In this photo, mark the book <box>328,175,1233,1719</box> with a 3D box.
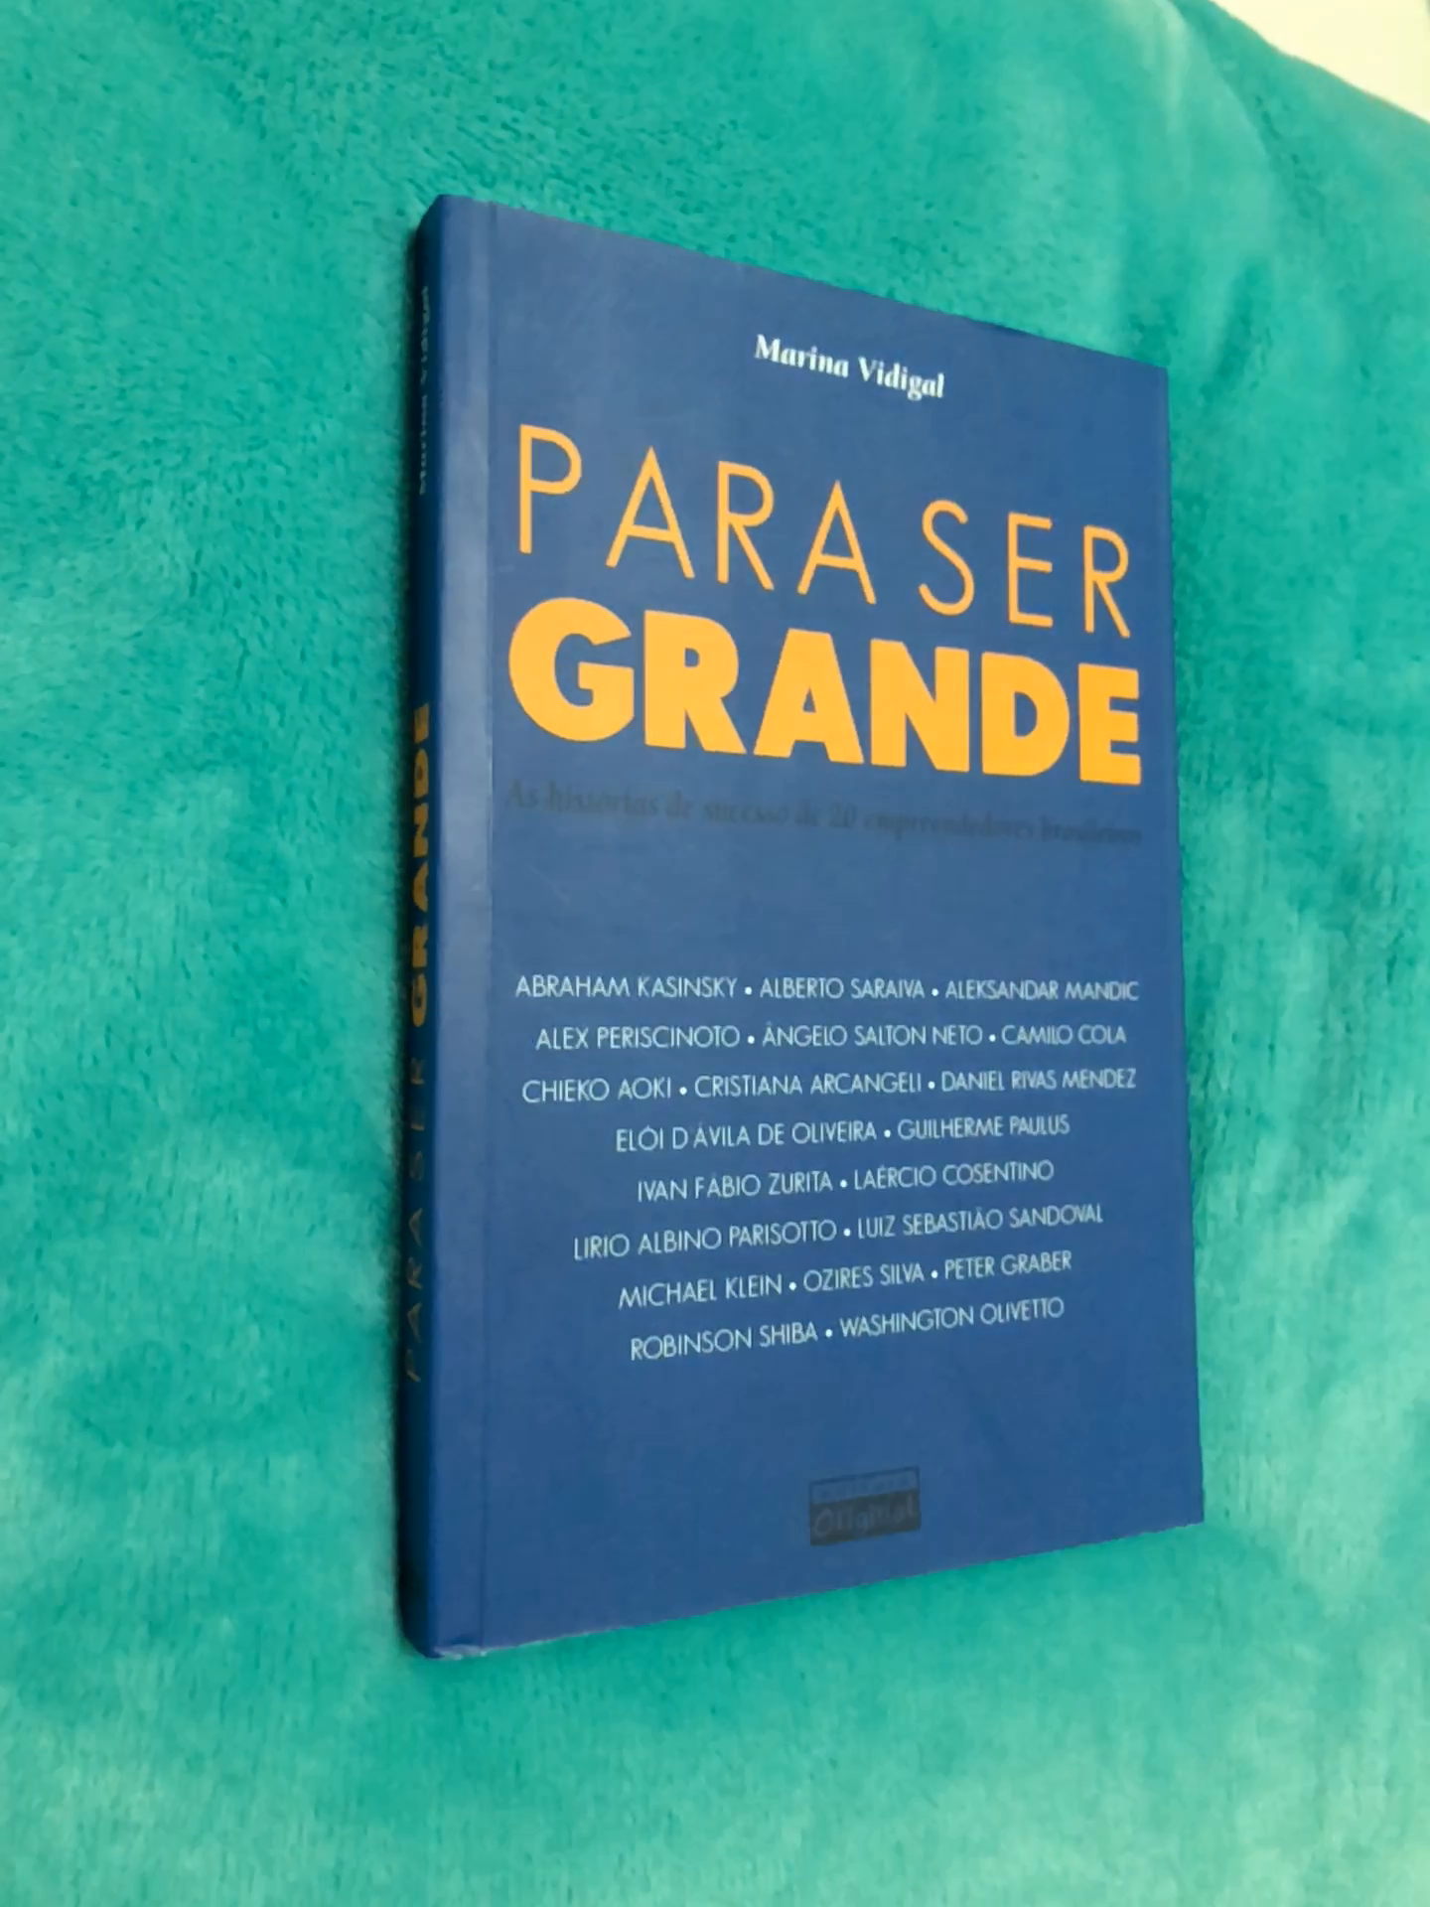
[{"bbox_3d":[0.016,0.000,0.249,0.140,0.030,0.200,2,88,-25],"label":"book"}]
